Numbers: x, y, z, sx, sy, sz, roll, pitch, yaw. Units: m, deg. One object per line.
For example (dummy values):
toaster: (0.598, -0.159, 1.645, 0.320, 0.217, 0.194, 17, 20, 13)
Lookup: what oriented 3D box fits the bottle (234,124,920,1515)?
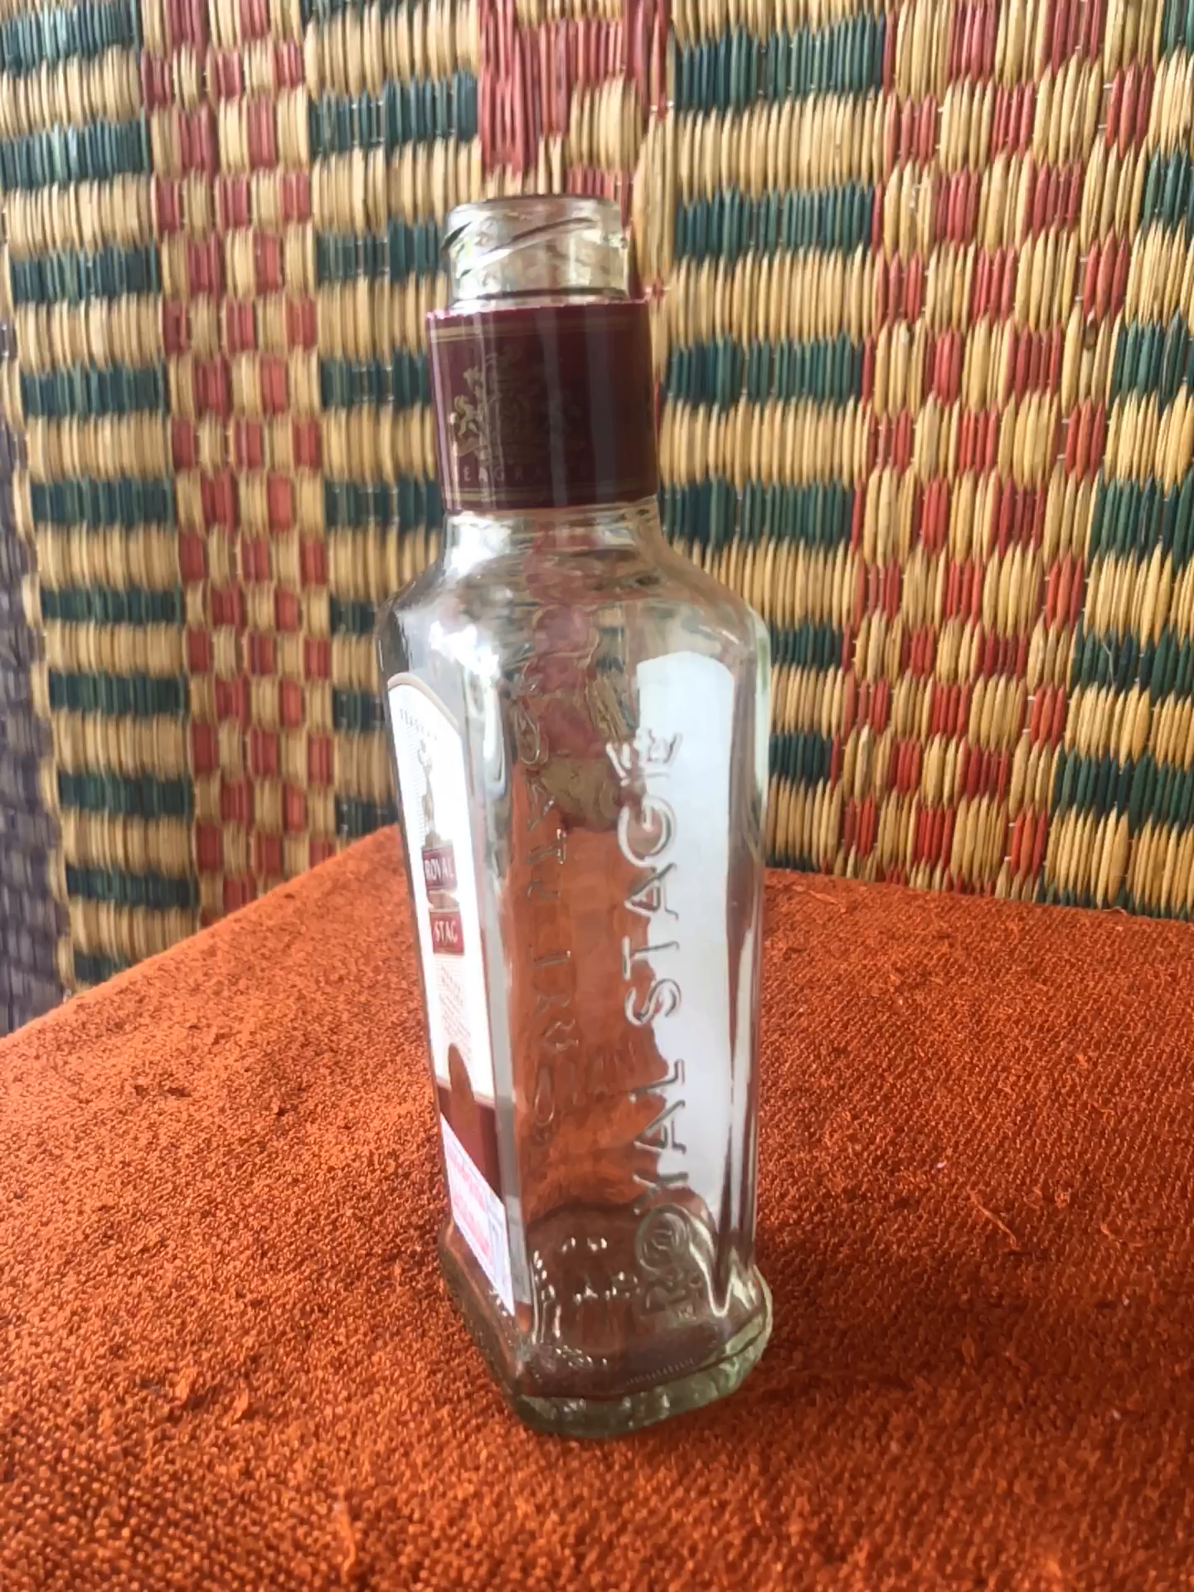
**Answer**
bottle: (0.001, 0.003, 0.181, 0.060, 0.159, 0.060, -4, 20, 2)
